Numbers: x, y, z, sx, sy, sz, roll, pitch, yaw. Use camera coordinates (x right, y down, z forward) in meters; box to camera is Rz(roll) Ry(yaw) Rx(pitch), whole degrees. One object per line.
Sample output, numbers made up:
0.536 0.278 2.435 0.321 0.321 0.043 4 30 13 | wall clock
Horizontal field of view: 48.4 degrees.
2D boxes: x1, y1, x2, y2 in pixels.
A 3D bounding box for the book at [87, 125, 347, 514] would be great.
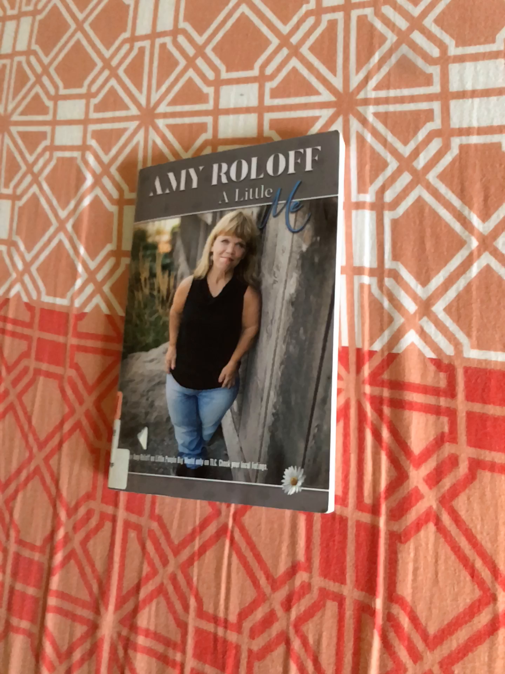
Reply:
-0.024 -0.011 0.353 0.158 0.030 0.215 -1 81 25 | book
